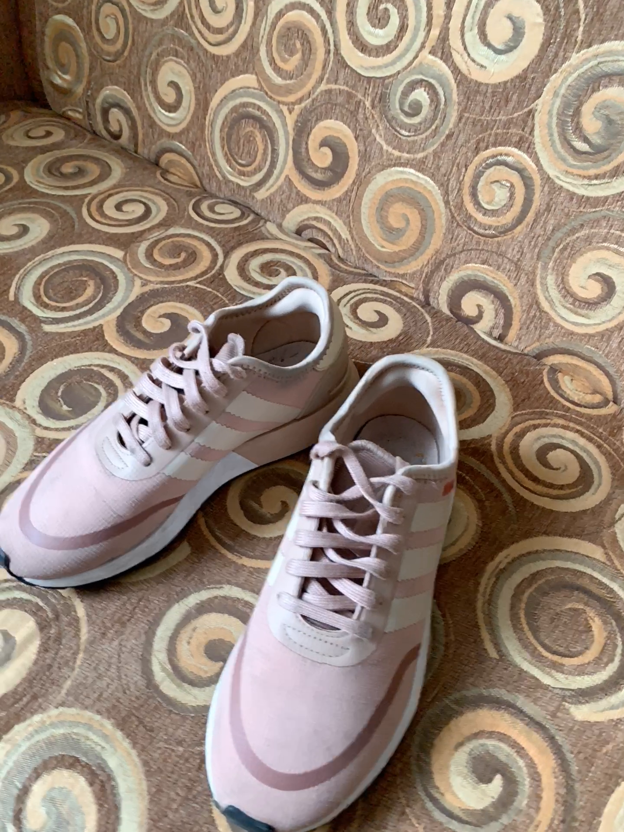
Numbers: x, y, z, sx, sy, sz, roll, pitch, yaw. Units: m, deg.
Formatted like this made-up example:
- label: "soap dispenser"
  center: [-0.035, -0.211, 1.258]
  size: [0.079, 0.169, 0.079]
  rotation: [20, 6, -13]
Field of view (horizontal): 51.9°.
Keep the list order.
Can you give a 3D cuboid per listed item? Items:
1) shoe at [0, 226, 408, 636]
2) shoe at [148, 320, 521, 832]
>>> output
- label: "shoe"
  center: [-0.073, -0.001, 0.384]
  size: [0.250, 0.090, 0.100]
  rotation: [-33, 60, -21]
- label: "shoe"
  center: [0.028, 0.079, 0.336]
  size: [0.100, 0.090, 0.251]
  rotation: [16, 56, 12]
